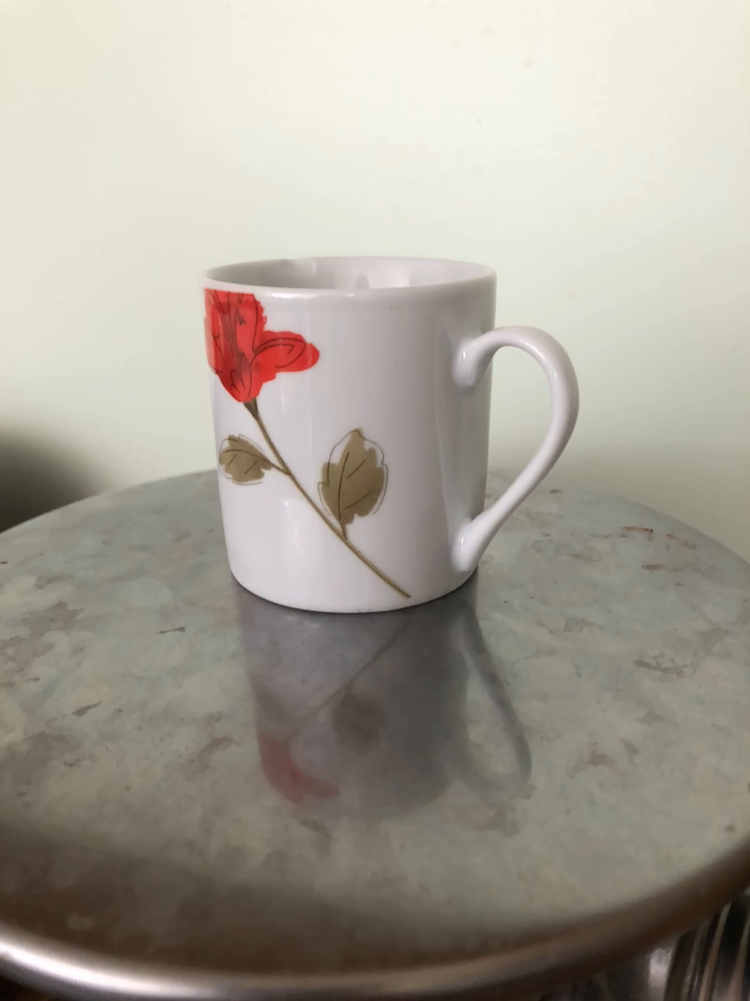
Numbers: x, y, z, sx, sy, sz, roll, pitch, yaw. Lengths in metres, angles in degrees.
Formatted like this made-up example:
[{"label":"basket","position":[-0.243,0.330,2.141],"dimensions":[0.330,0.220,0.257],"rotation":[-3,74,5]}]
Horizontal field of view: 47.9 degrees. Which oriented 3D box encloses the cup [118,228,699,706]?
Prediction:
[{"label":"cup","position":[0.007,-0.016,0.155],"dimensions":[0.080,0.060,0.060],"rotation":[13,25,30]}]
